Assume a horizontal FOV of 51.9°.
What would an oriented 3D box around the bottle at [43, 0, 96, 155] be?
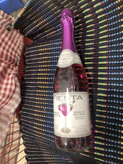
[{"bbox_3d":[0.018,-0.034,0.289,0.080,0.080,0.330,-7,77,31],"label":"bottle"}]
